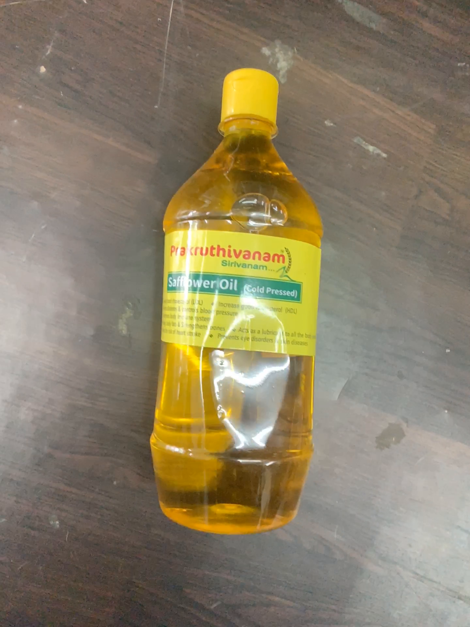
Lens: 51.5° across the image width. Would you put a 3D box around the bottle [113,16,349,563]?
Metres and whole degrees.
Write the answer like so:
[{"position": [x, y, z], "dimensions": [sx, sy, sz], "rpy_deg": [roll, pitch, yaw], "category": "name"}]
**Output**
[{"position": [0.003, -0.013, 0.250], "dimensions": [0.090, 0.080, 0.230], "rpy_deg": [3, 89, 8], "category": "bottle"}]
